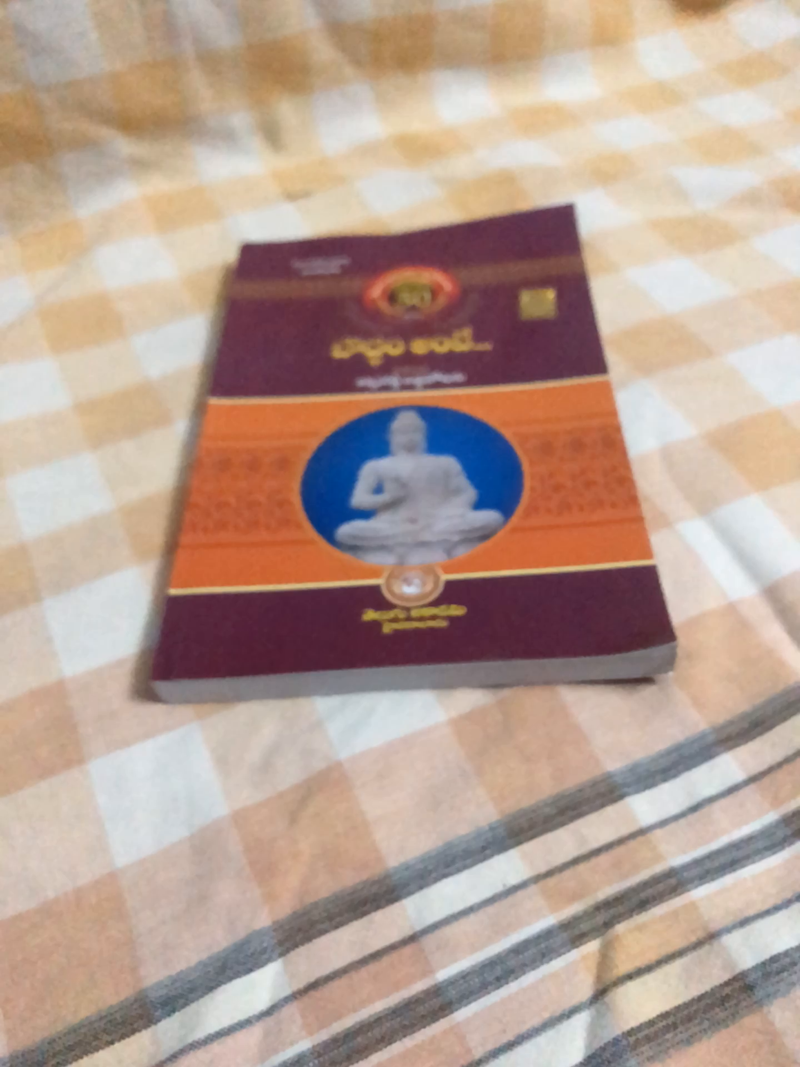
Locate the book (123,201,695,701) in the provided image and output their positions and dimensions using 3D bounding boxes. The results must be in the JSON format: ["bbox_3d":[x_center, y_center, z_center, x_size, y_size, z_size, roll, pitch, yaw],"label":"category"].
[{"bbox_3d":[0.002,-0.050,0.339,0.160,0.020,0.241,-1,50,1],"label":"book"}]
